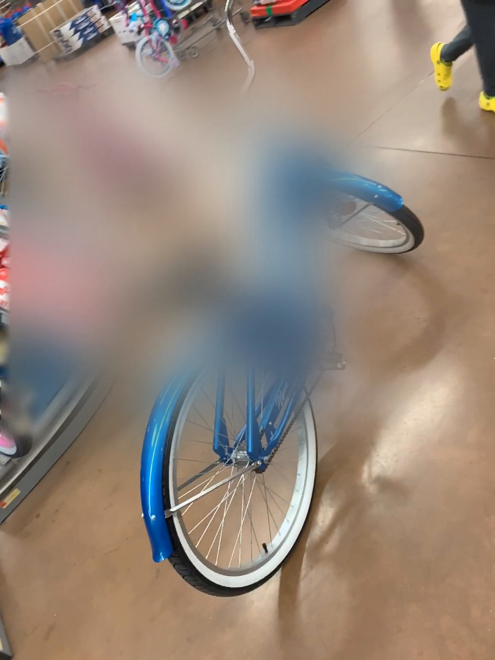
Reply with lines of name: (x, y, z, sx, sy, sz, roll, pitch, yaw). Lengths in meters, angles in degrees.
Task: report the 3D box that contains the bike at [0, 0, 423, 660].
bike: (-0.113, -0.185, 1.486, 0.875, 1.208, 1.534, -9, 43, 25)
